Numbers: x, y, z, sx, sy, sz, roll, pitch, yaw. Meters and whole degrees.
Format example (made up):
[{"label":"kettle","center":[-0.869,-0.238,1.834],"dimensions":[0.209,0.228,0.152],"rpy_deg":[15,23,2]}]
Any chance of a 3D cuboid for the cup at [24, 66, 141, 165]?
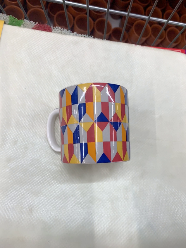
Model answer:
[{"label":"cup","center":[-0.008,-0.002,0.213],"dimensions":[0.100,0.080,0.080],"rpy_deg":[-4,84,26]}]
